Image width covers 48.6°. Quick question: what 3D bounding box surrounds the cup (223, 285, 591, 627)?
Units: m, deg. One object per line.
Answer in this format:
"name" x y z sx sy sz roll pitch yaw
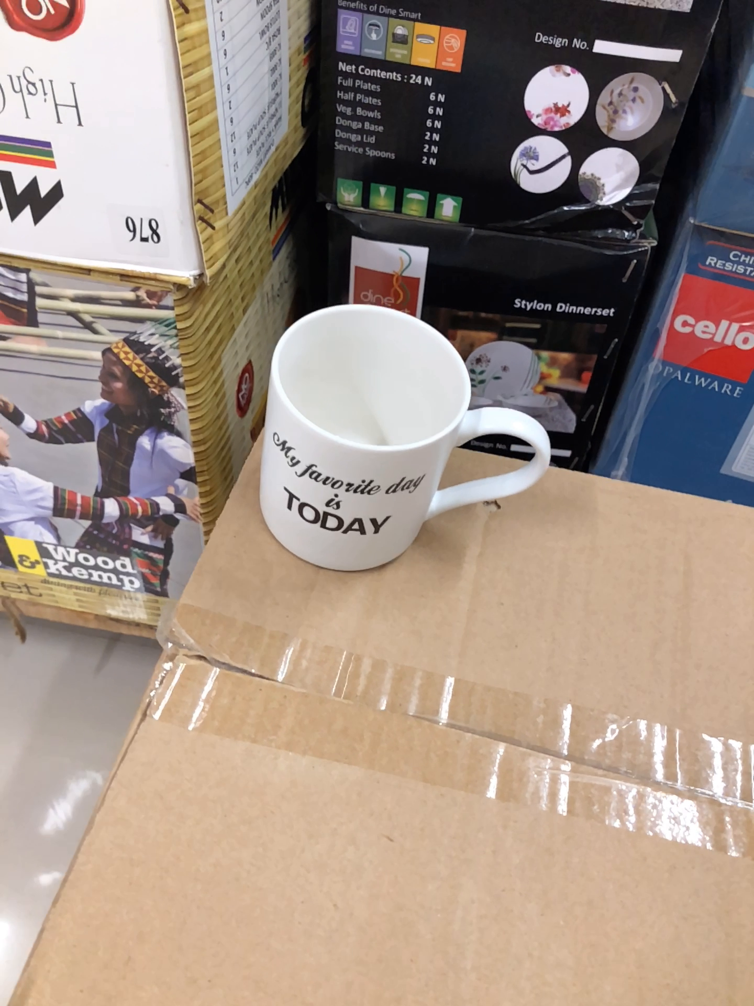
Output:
"cup" 0.008 -0.016 0.359 0.130 0.099 0.081 10 52 -5
